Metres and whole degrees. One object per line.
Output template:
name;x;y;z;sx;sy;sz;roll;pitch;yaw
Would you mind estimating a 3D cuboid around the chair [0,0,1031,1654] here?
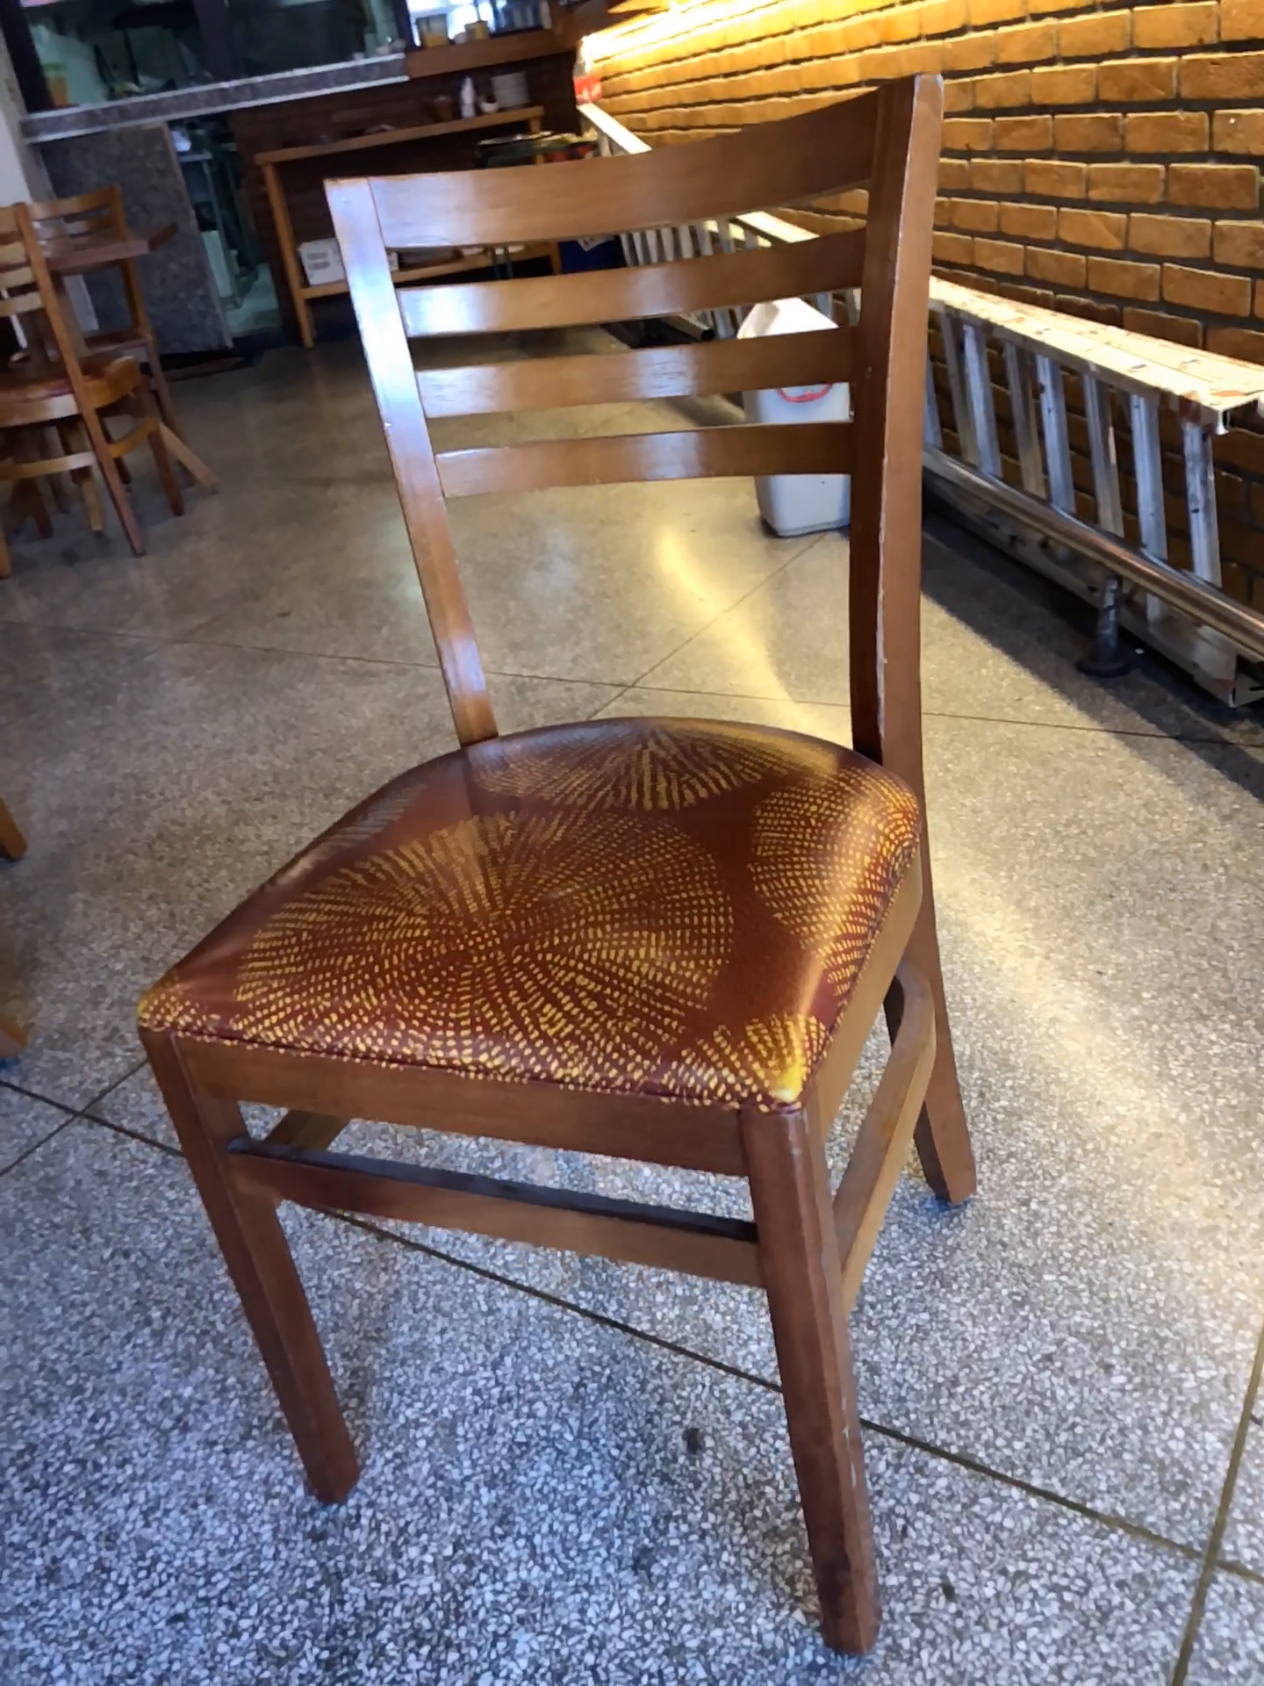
chair;-0.013;-0.020;0.894;0.450;0.844;0.473;2;30;22
